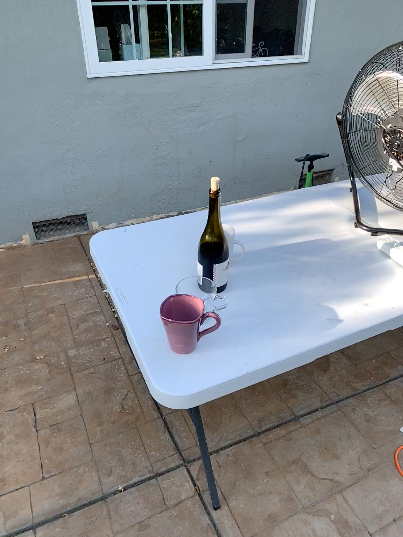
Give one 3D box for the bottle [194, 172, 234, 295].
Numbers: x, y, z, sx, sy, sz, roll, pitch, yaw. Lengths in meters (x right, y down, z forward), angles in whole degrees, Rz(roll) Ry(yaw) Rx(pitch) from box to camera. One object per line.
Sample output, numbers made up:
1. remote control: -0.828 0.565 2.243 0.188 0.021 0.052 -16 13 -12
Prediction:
1. bottle: 0.029 -0.081 1.047 0.090 0.308 0.080 0 33 0
